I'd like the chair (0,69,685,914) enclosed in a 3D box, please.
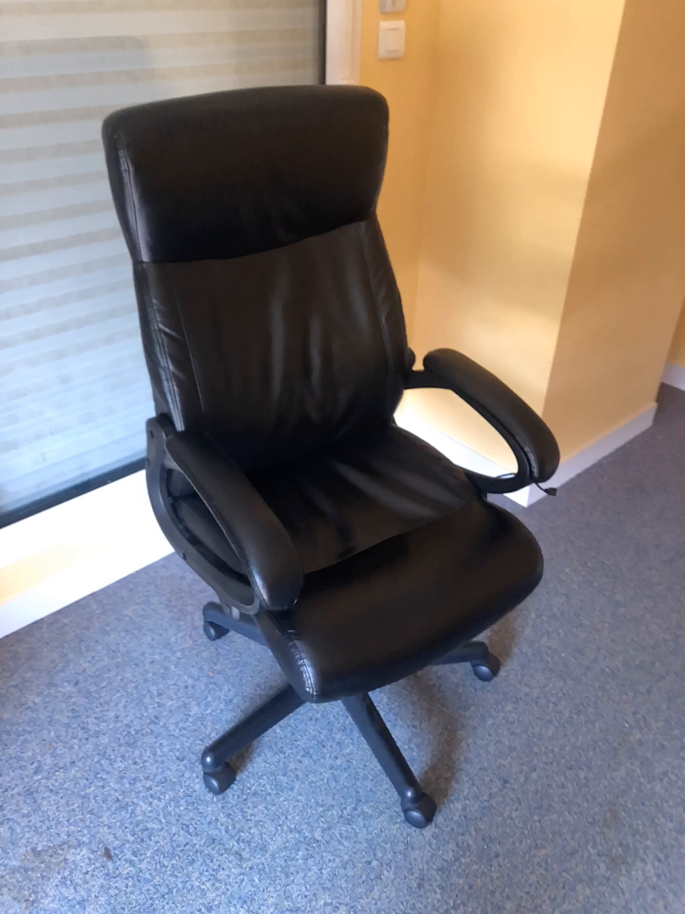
[{"bbox_3d":[-0.013,0.010,1.309,0.663,1.113,0.751,-24,41,-33],"label":"chair"}]
